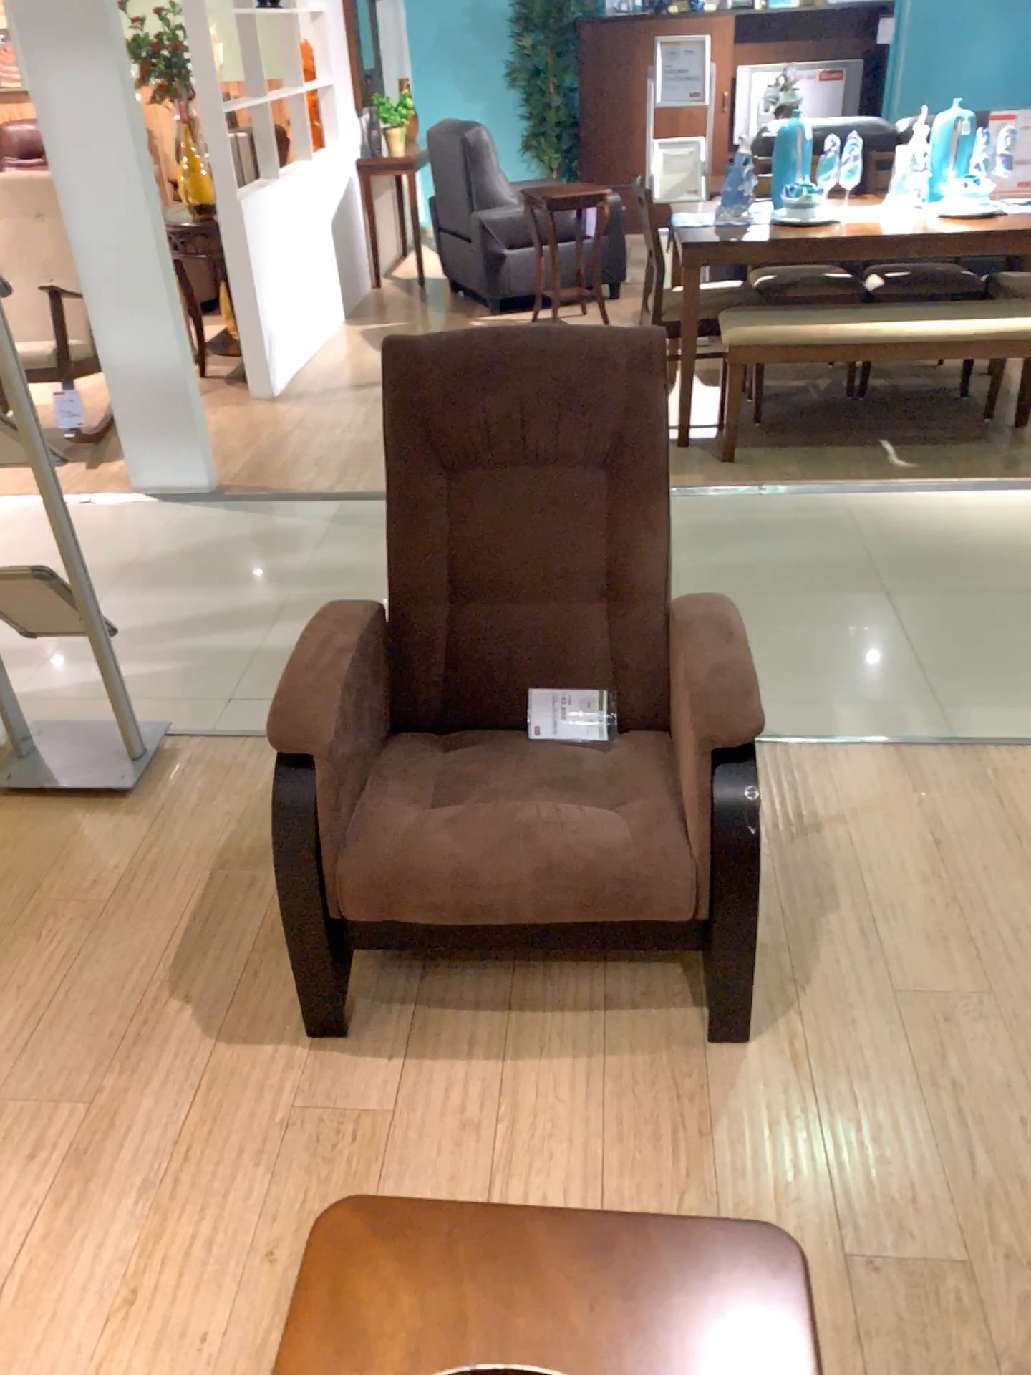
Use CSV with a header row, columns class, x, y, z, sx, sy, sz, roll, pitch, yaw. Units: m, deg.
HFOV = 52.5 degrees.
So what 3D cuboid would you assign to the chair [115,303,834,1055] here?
class,x,y,z,sx,sy,sz,roll,pitch,yaw
chair,-0.008,-0.076,1.816,0.800,0.886,1.004,-1,32,4
